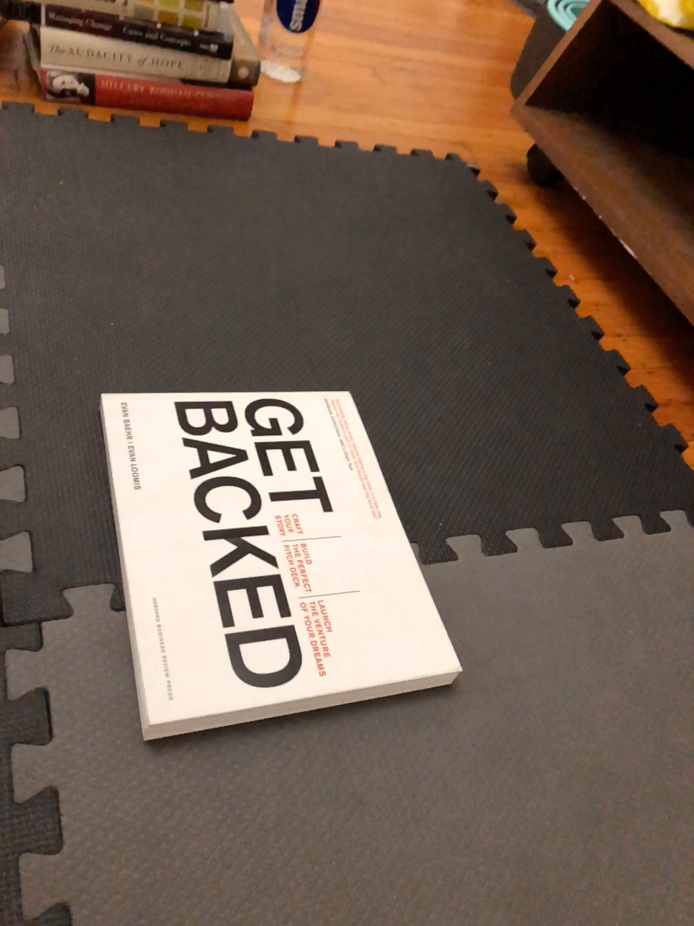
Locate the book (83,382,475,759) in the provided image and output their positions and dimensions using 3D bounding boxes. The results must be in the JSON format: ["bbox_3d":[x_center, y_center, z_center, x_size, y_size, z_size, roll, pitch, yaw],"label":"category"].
[{"bbox_3d":[-0.056,0.046,0.515,0.210,0.020,0.261,-3,51,-23],"label":"book"}]
